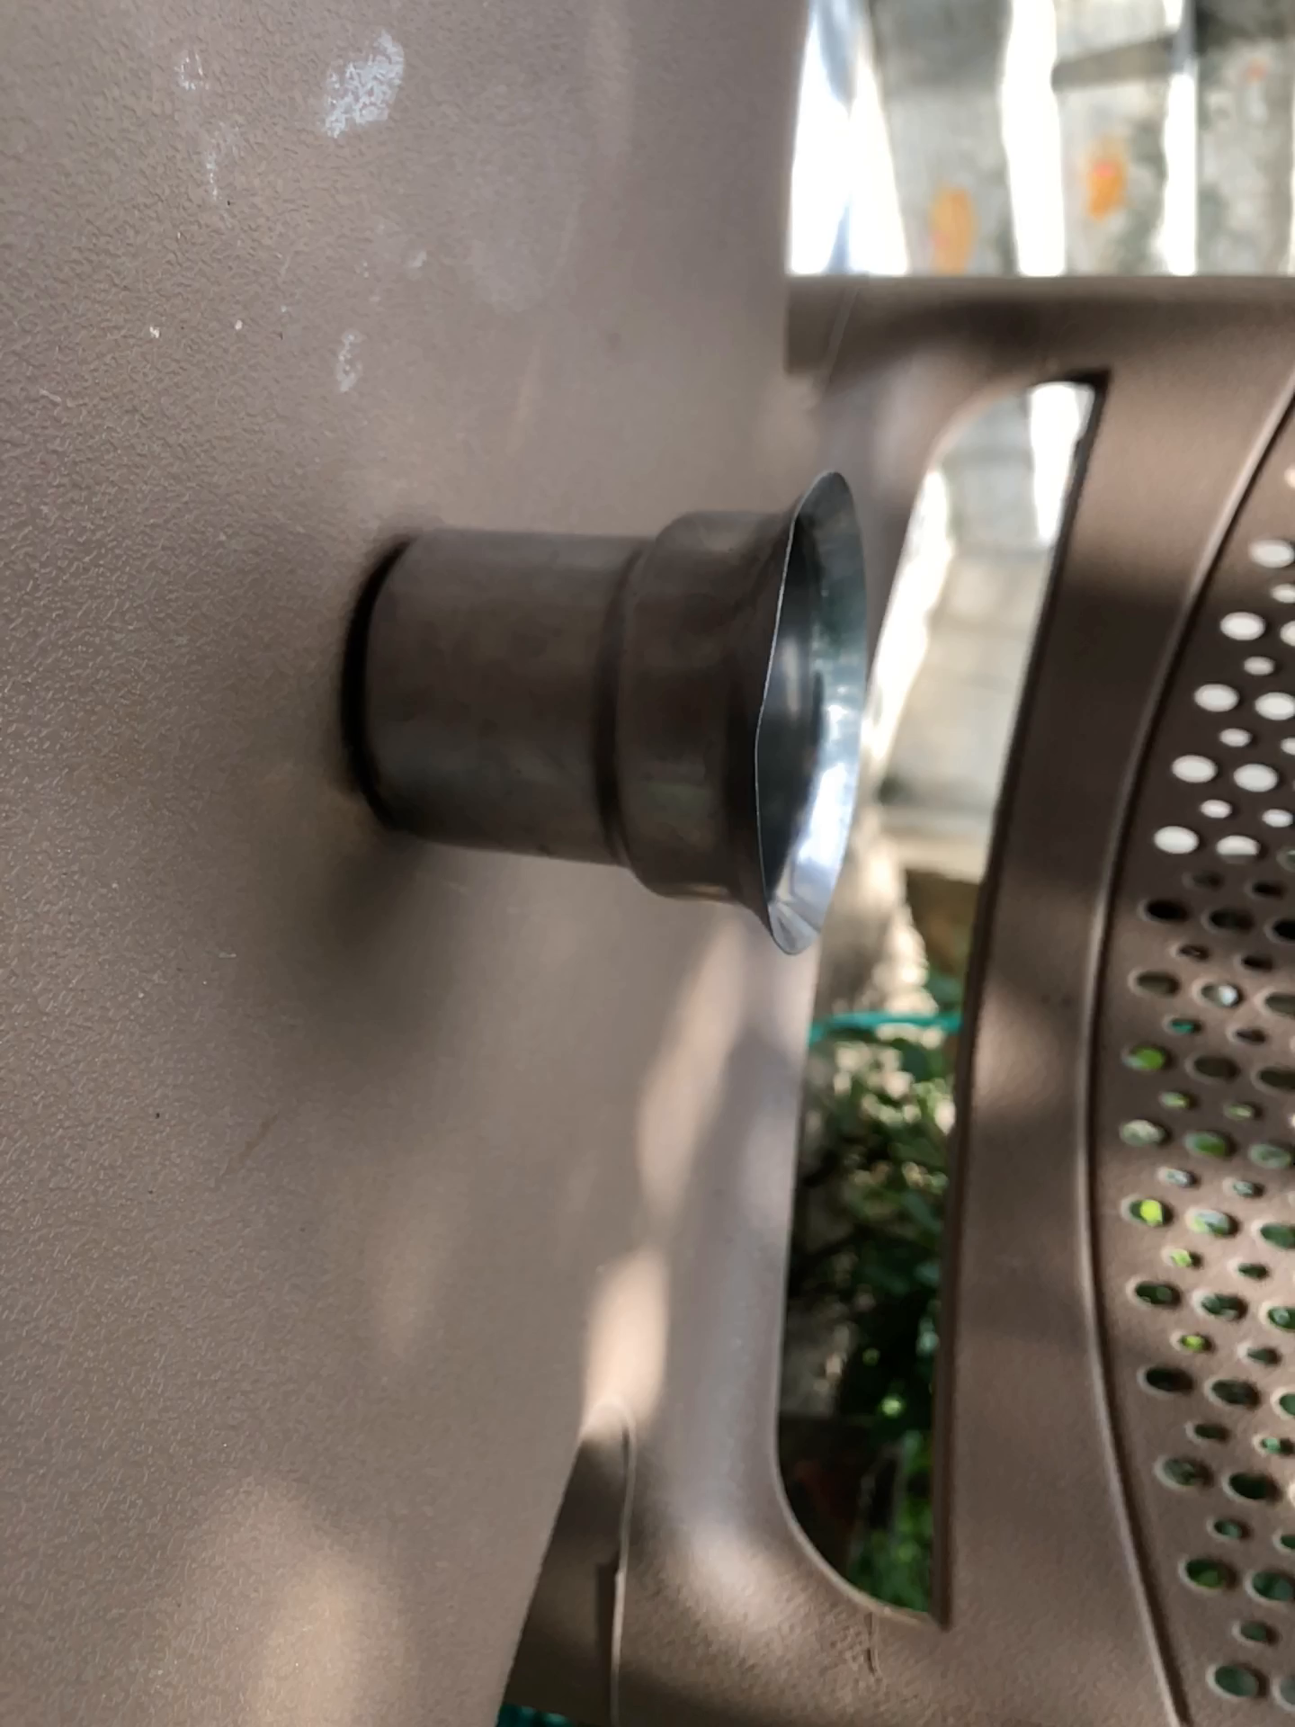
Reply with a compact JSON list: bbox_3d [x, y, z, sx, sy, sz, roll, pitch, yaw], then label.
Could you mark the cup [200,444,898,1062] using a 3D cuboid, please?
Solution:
[{"bbox_3d":[-0.007,-0.020,0.215,0.070,0.070,0.060,-55,143,-51],"label":"cup"}]
